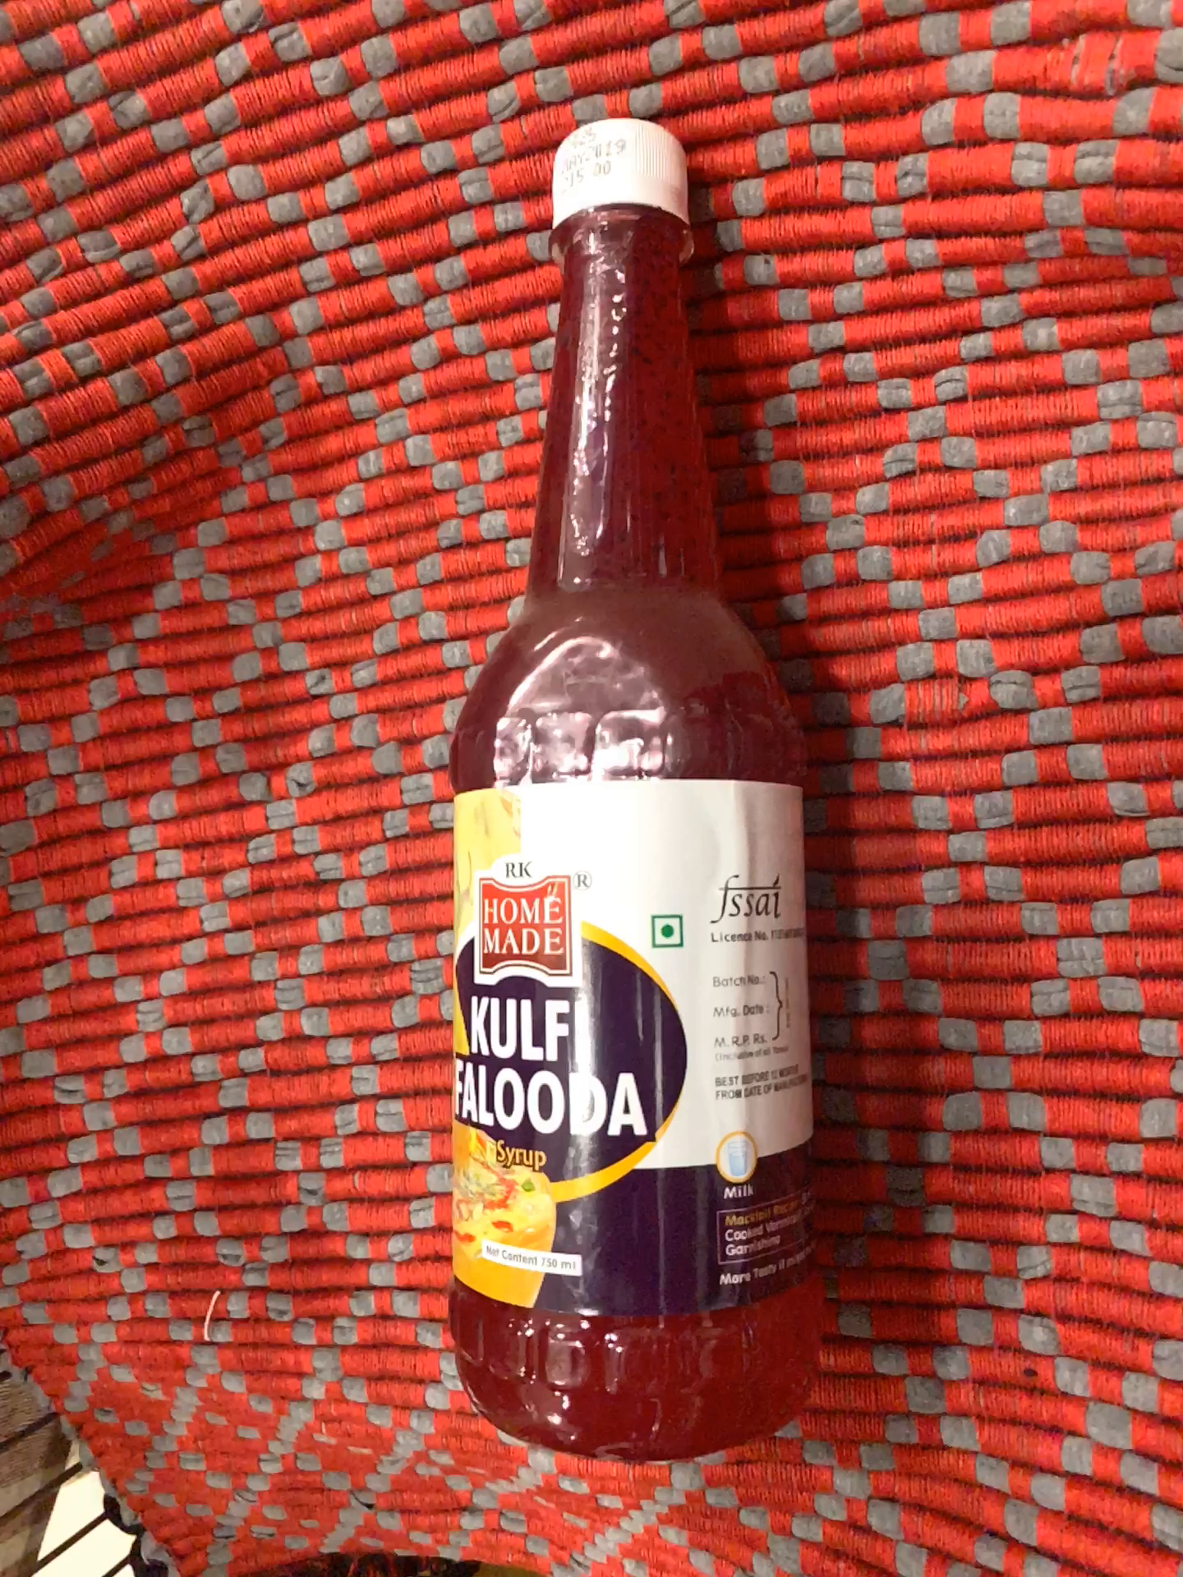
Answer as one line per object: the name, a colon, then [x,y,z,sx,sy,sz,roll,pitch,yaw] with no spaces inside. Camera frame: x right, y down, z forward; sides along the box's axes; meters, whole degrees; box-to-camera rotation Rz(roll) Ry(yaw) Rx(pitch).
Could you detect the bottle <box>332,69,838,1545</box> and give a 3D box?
bottle: [0.007,-0.004,0.248,0.070,0.070,0.250,-3,77,24]
